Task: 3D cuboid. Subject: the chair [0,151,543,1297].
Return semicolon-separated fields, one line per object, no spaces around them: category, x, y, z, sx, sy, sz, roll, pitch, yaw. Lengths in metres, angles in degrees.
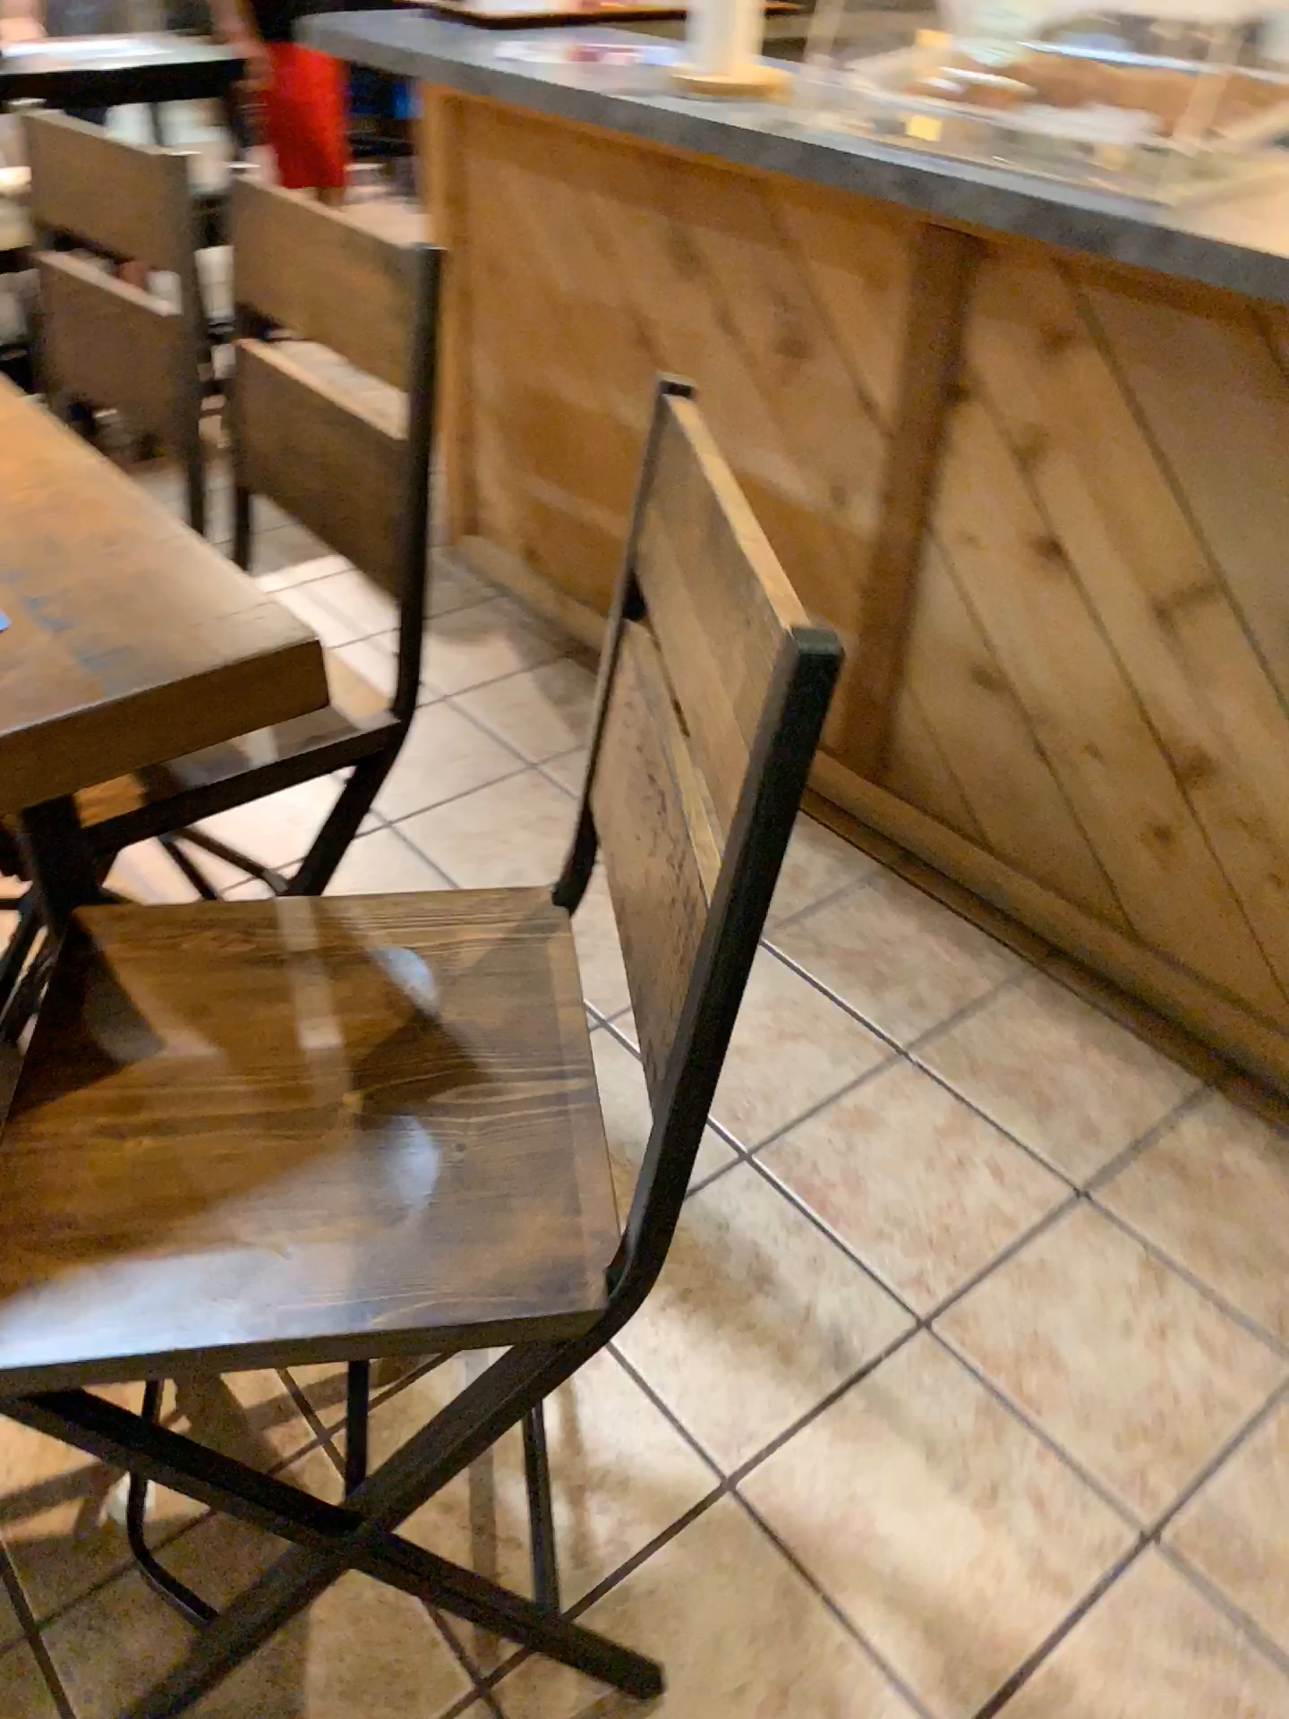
chair;-0.529;-0.144;1.459;0.616;1.003;0.494;-27;46;-29

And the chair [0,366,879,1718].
chair;-0.219;0.213;0.995;0.615;0.983;0.444;-5;36;-4
